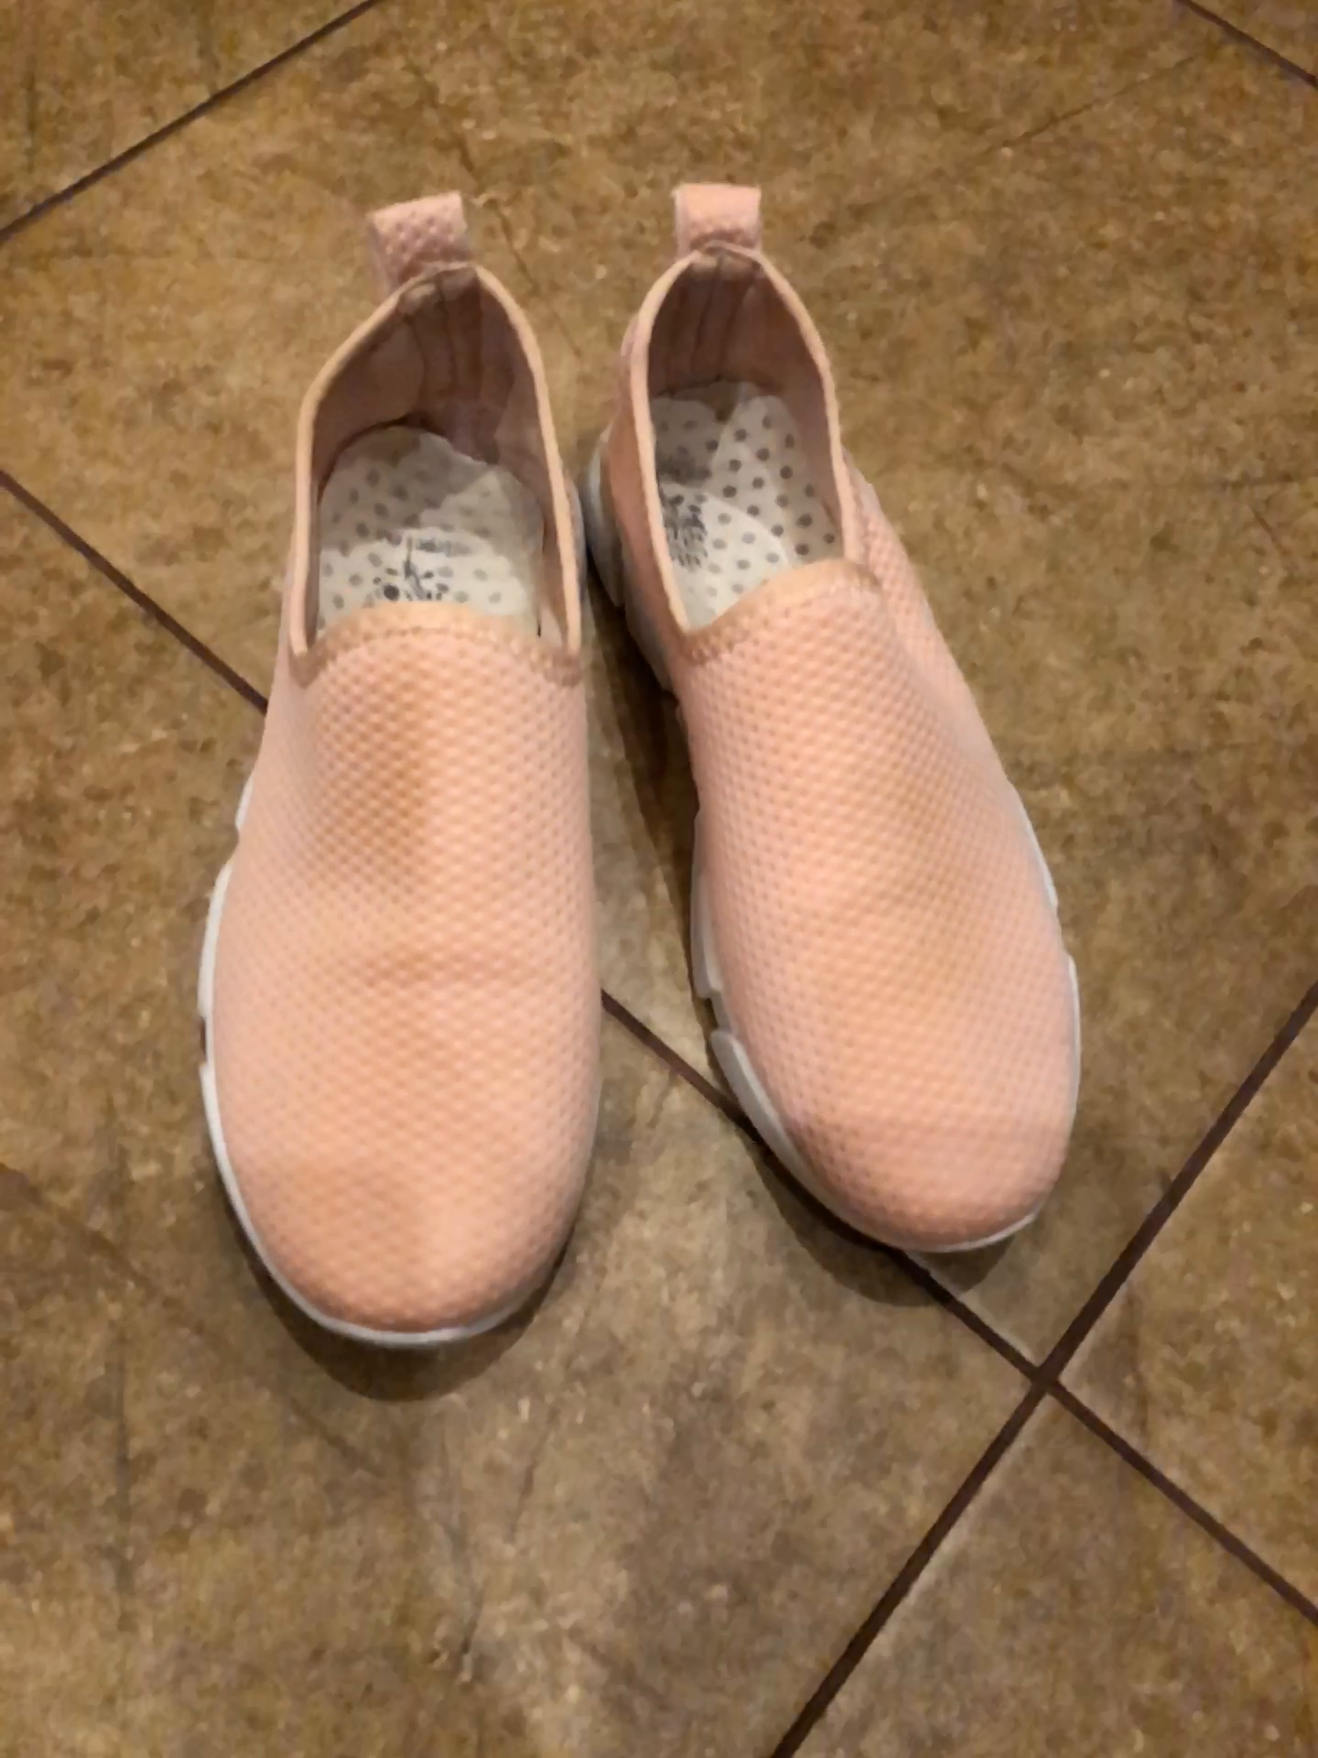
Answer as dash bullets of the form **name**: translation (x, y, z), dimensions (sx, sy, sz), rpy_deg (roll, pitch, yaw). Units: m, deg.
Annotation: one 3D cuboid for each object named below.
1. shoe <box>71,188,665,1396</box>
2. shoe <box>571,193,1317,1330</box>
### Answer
- **shoe**: translation (-0.051, -0.017, 0.327), dimensions (0.090, 0.120, 0.241), rpy_deg (1, 66, -5)
- **shoe**: translation (0.047, -0.030, 0.334), dimensions (0.090, 0.100, 0.231), rpy_deg (-9, 67, -9)
